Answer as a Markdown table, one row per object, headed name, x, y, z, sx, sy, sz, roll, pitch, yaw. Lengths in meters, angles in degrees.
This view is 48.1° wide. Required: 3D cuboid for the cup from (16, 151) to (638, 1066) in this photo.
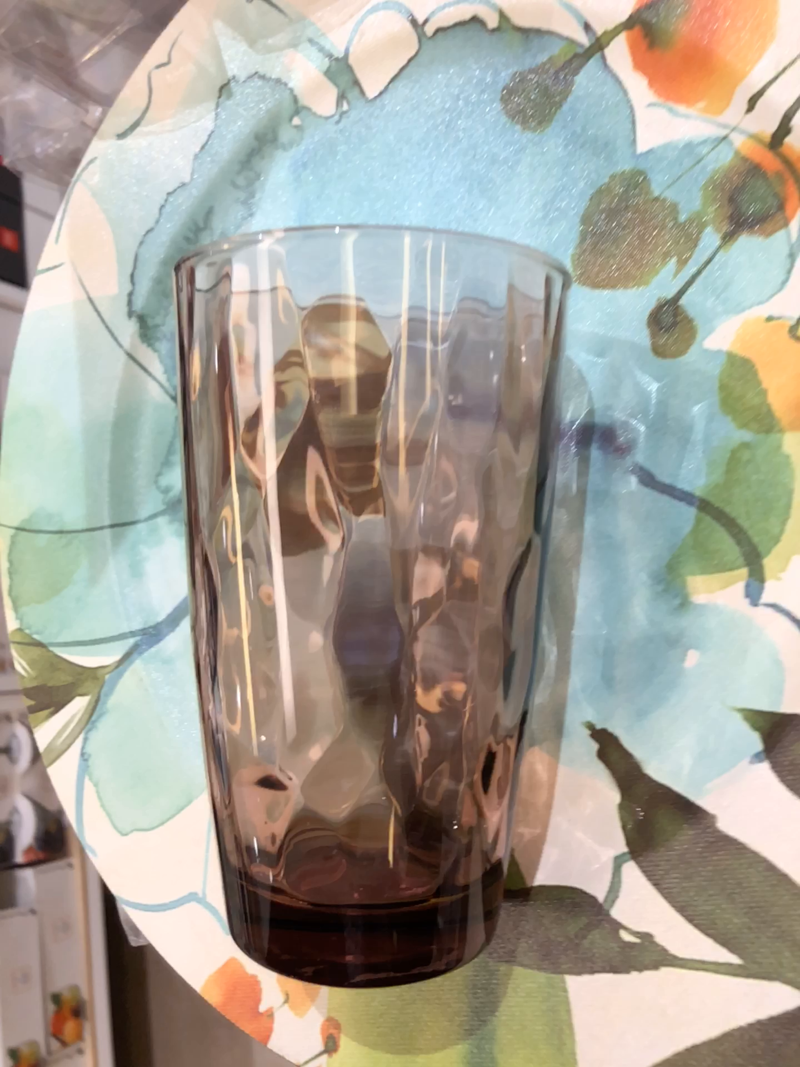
| name | x | y | z | sx | sy | sz | roll | pitch | yaw |
| --- | --- | --- | --- | --- | --- | --- | --- | --- | --- |
| cup | -0.011 | 0.019 | 0.189 | 0.090 | 0.080 | 0.150 | 2 | 86 | 33 |
